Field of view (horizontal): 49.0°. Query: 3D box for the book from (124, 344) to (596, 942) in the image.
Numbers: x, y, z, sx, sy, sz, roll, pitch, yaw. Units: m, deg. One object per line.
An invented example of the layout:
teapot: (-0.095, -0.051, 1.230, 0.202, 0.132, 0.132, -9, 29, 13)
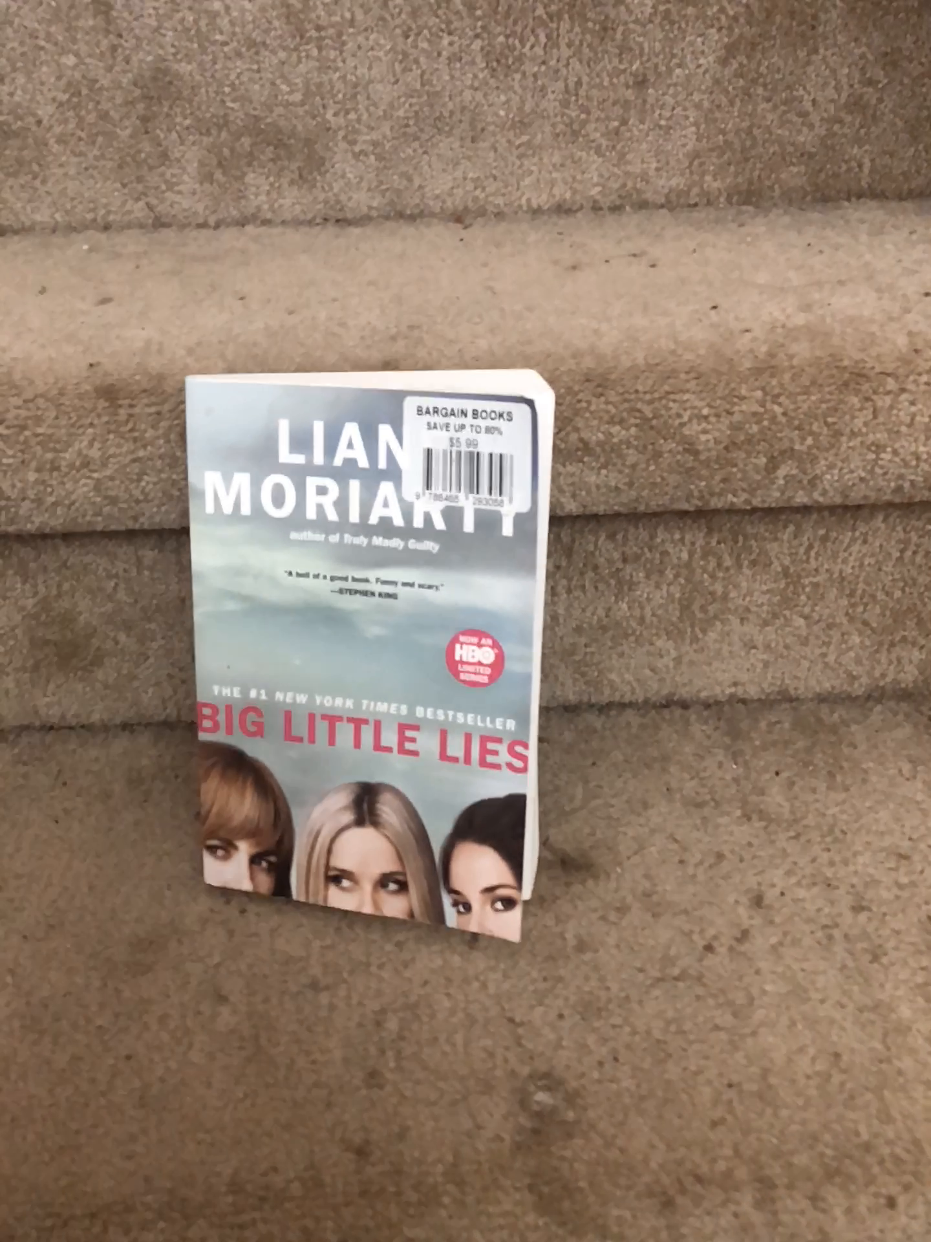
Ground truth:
book: (-0.039, 0.006, 0.391, 0.160, 0.209, 0.050, 4, 14, 9)
